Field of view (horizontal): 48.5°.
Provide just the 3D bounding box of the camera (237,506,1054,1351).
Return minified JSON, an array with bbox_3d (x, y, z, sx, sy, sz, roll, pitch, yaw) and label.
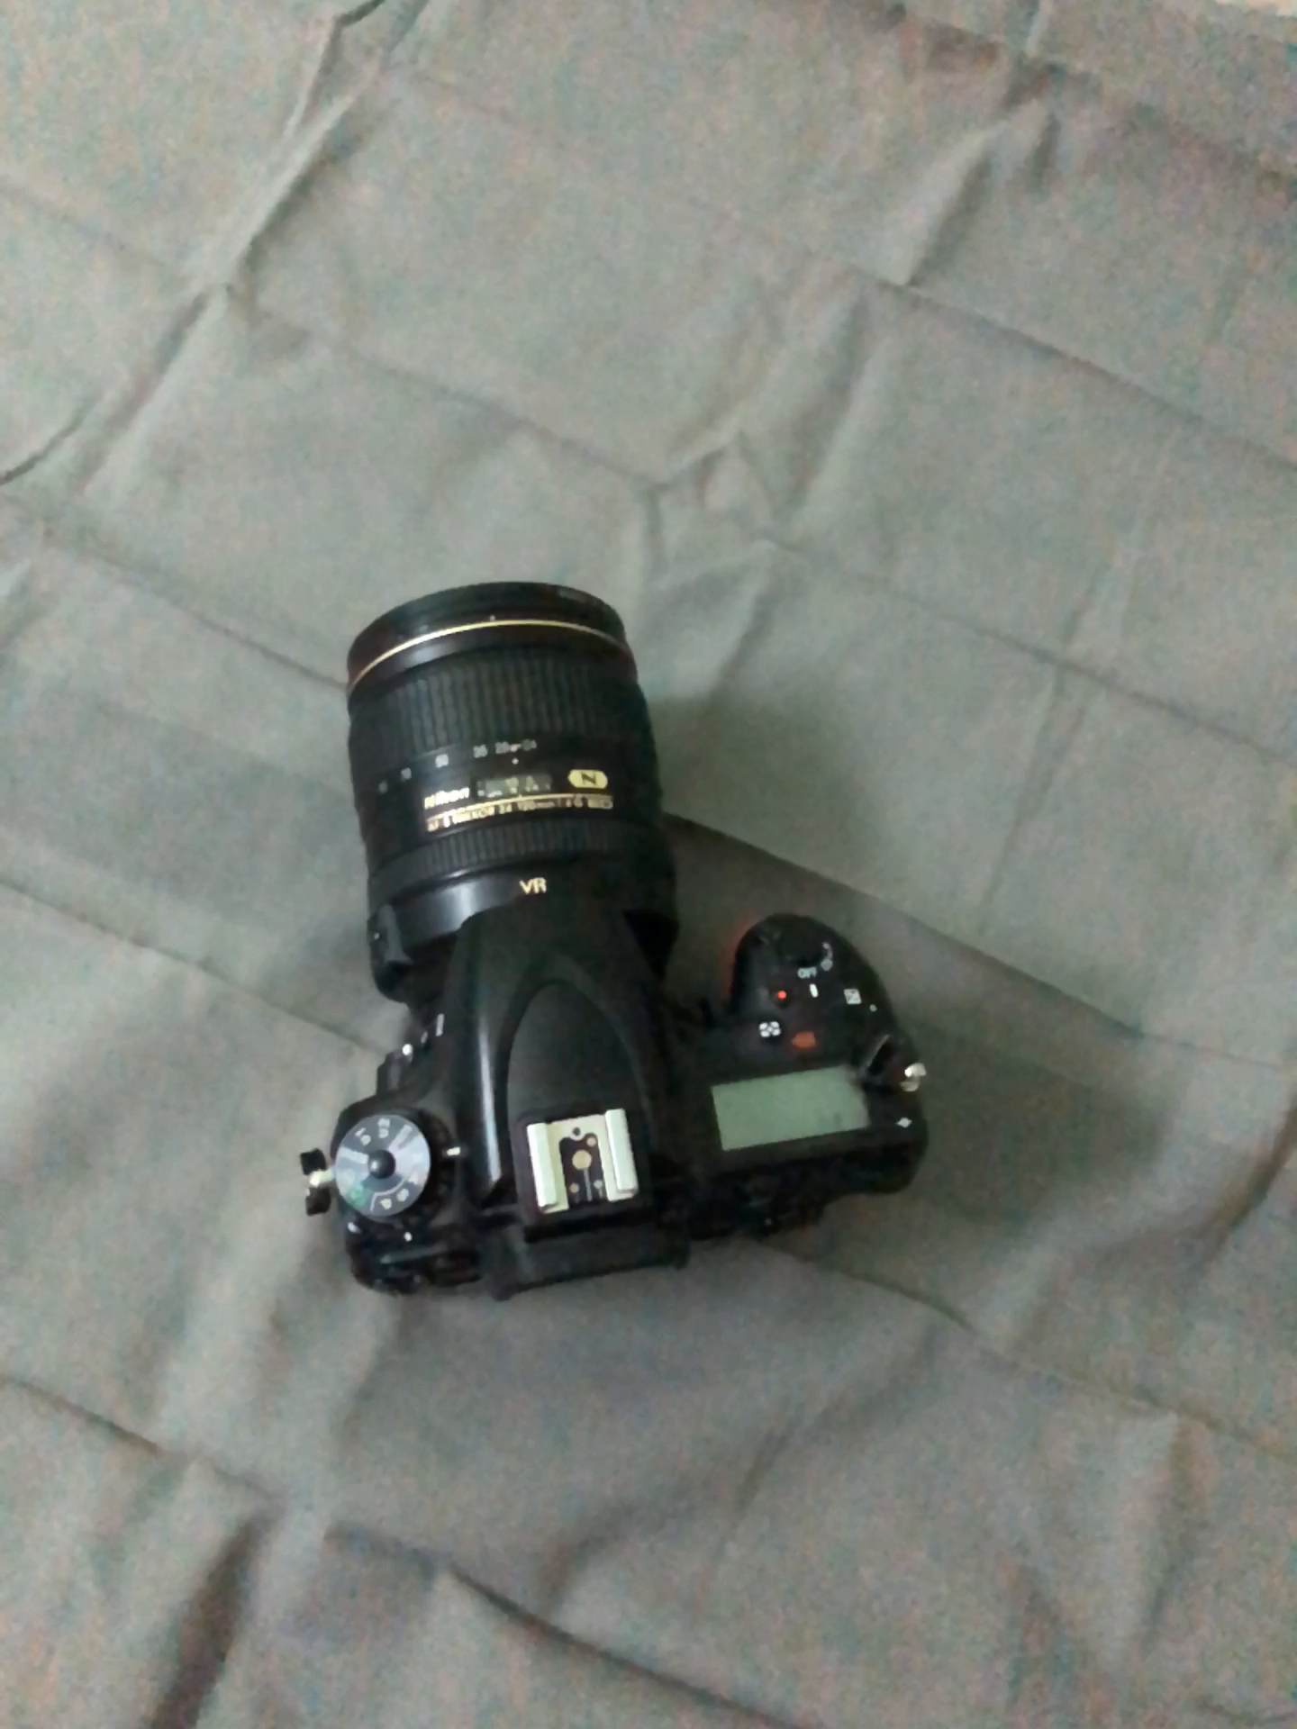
[{"bbox_3d":[-0.011,0.024,0.362,0.146,0.135,0.164,-7,72,-8],"label":"camera"}]
